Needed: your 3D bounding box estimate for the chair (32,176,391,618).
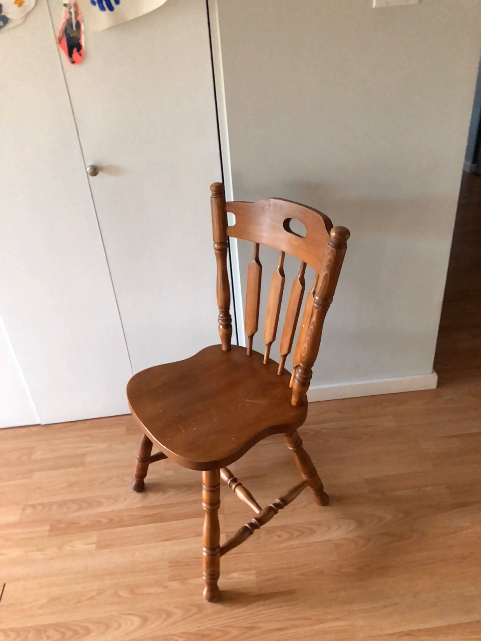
[{"bbox_3d":[-0.058,0.154,1.387,0.590,0.817,0.562,-23,37,-27],"label":"chair"}]
